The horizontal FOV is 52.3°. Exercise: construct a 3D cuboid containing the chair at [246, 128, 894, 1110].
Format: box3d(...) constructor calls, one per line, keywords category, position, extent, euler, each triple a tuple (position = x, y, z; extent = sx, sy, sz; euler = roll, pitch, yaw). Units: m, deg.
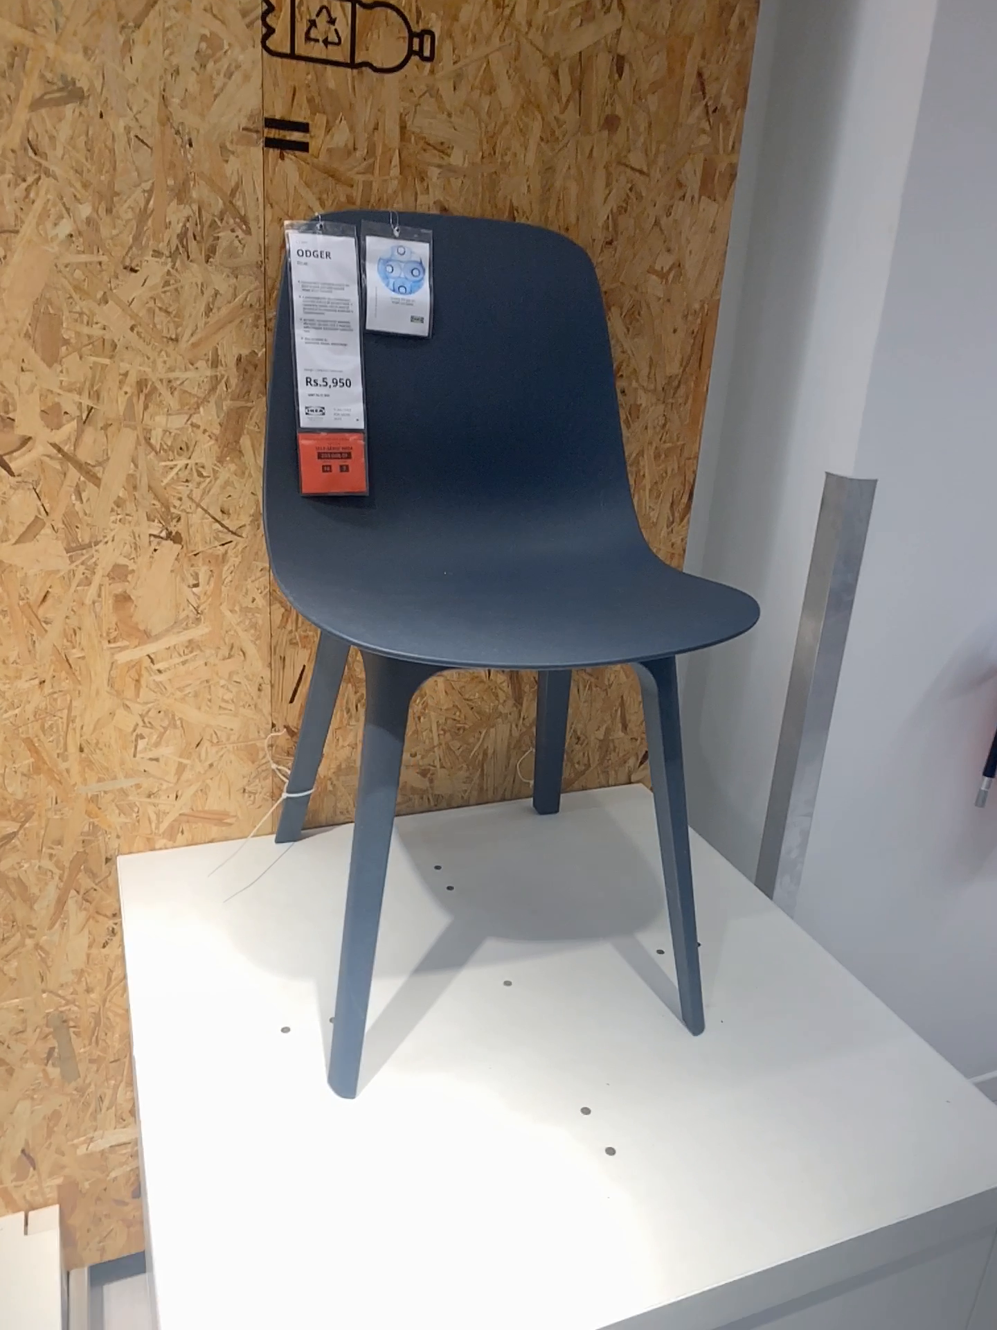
box3d(category="chair", position=(-0.009, -0.070, 1.045), extent=(0.430, 0.767, 0.502), euler=(-3, 21, -18))
